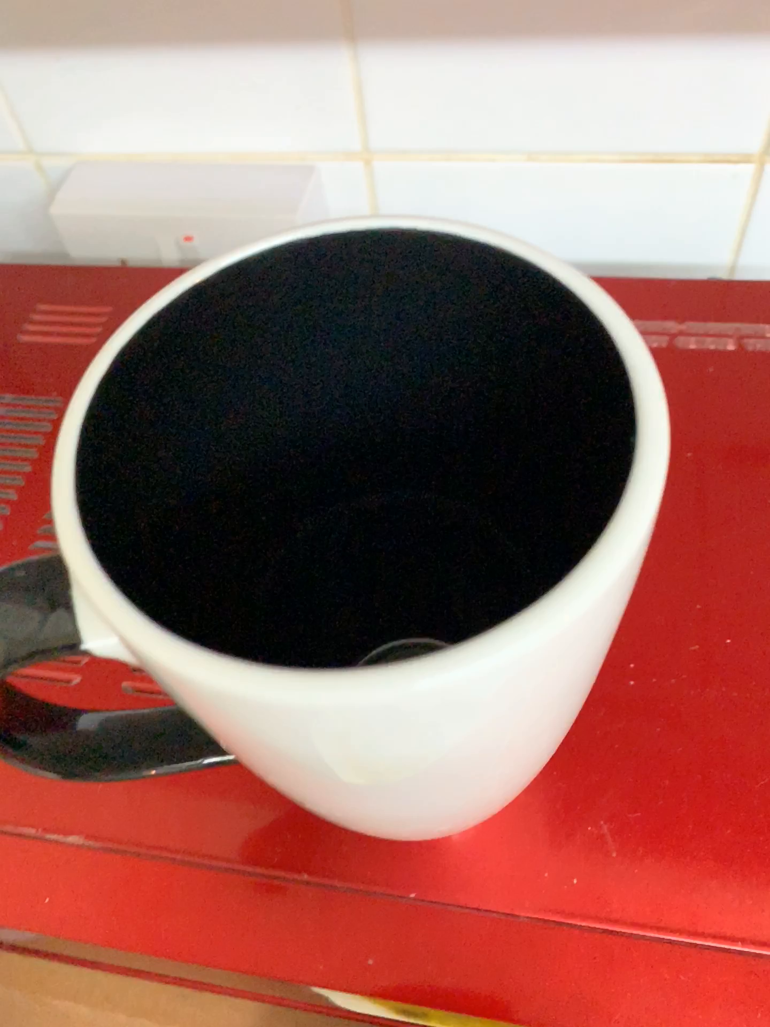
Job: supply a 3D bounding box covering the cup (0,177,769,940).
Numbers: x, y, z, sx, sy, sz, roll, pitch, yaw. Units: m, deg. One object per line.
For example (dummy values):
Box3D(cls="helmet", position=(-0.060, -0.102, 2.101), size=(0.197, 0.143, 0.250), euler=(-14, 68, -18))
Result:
Box3D(cls="cup", position=(-0.012, 0.023, 0.174), size=(0.130, 0.129, 0.091), euler=(-10, 55, 0))
